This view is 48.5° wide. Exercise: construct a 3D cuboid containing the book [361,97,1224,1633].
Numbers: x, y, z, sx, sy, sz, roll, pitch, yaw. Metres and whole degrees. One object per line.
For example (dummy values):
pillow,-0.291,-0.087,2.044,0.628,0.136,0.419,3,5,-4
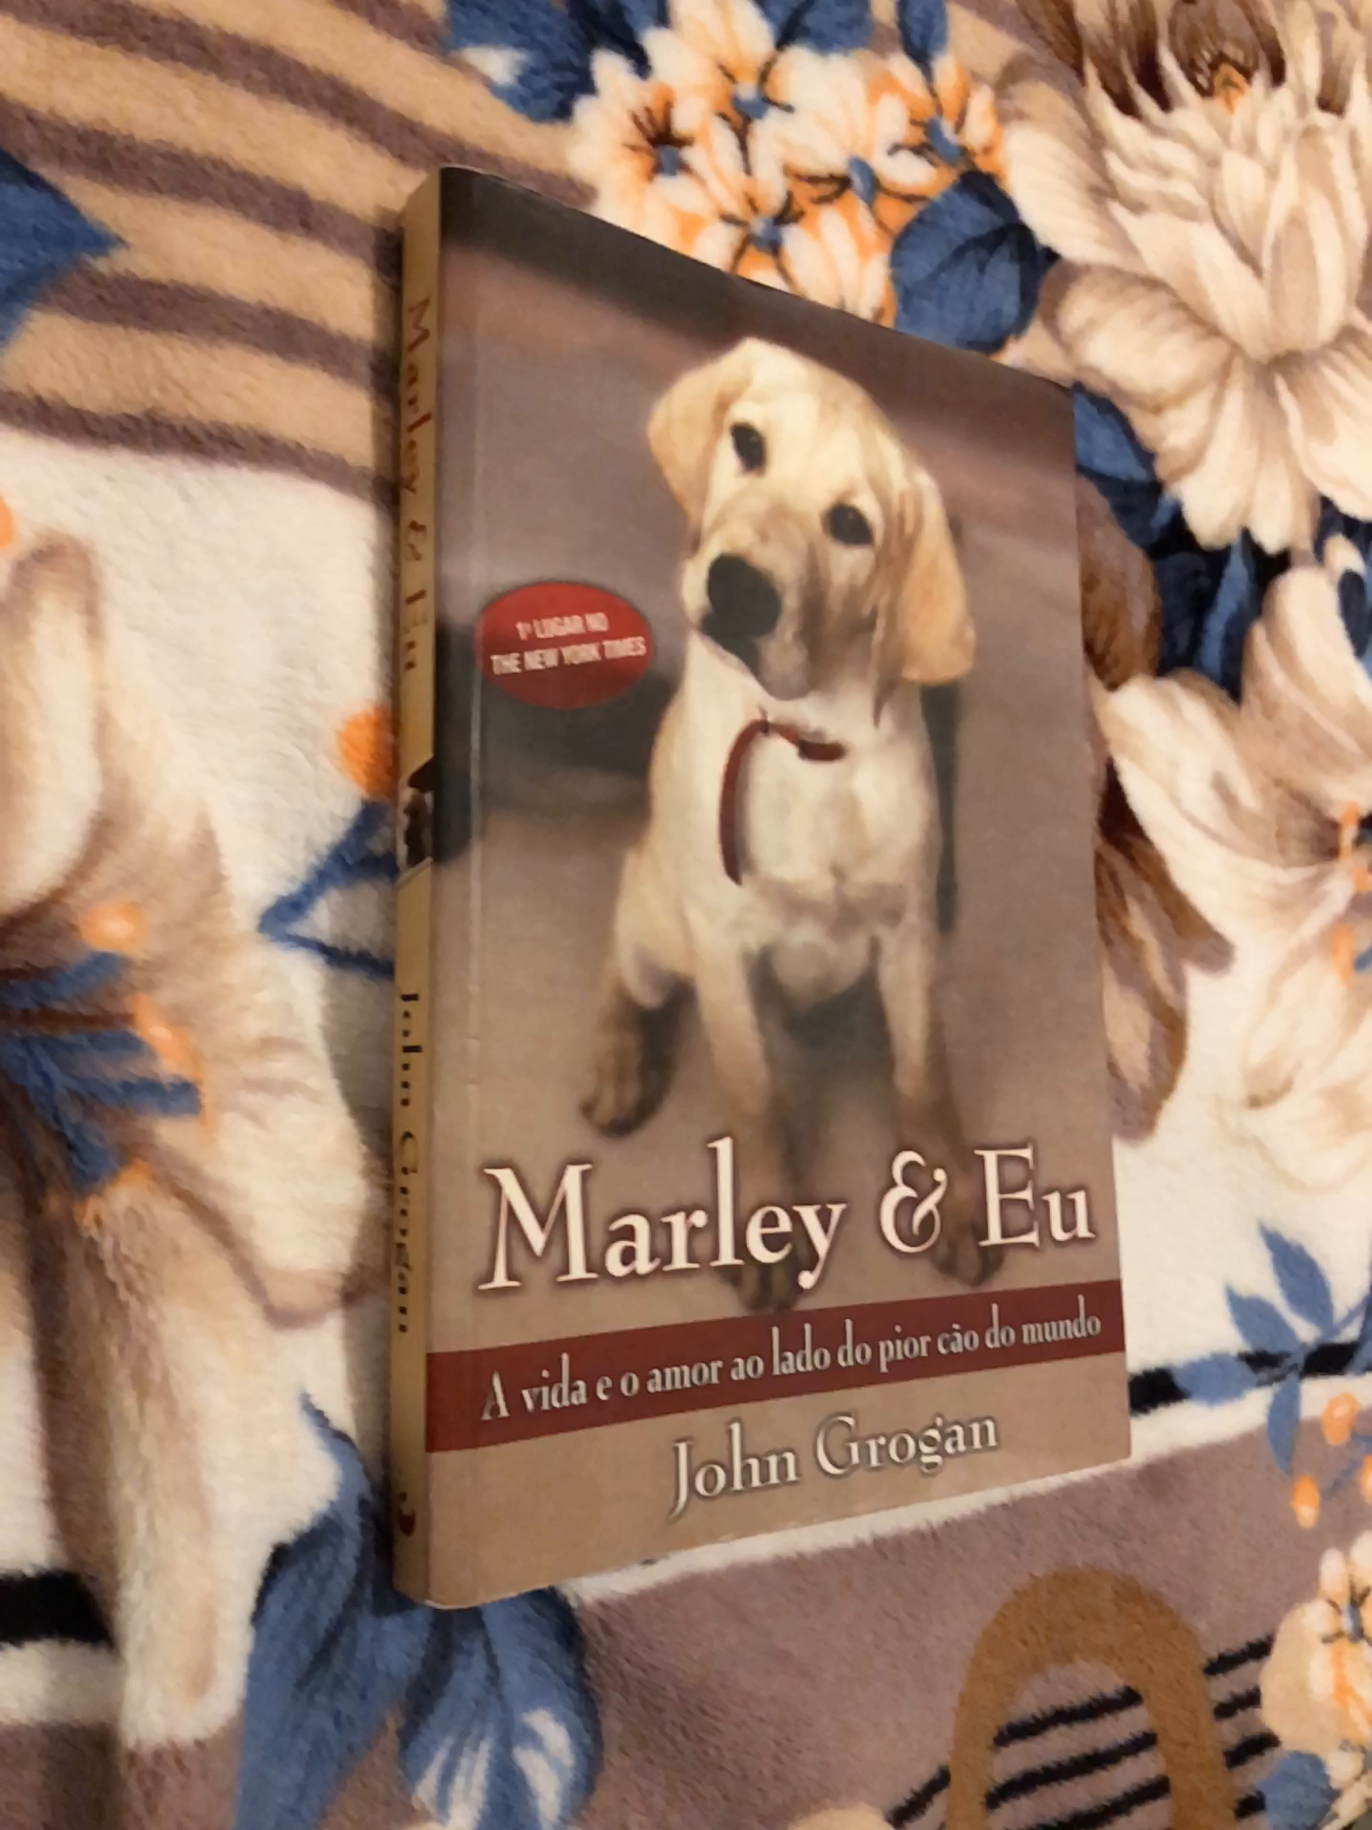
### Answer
book,0.026,-0.008,0.291,0.171,0.040,0.230,4,81,-36
